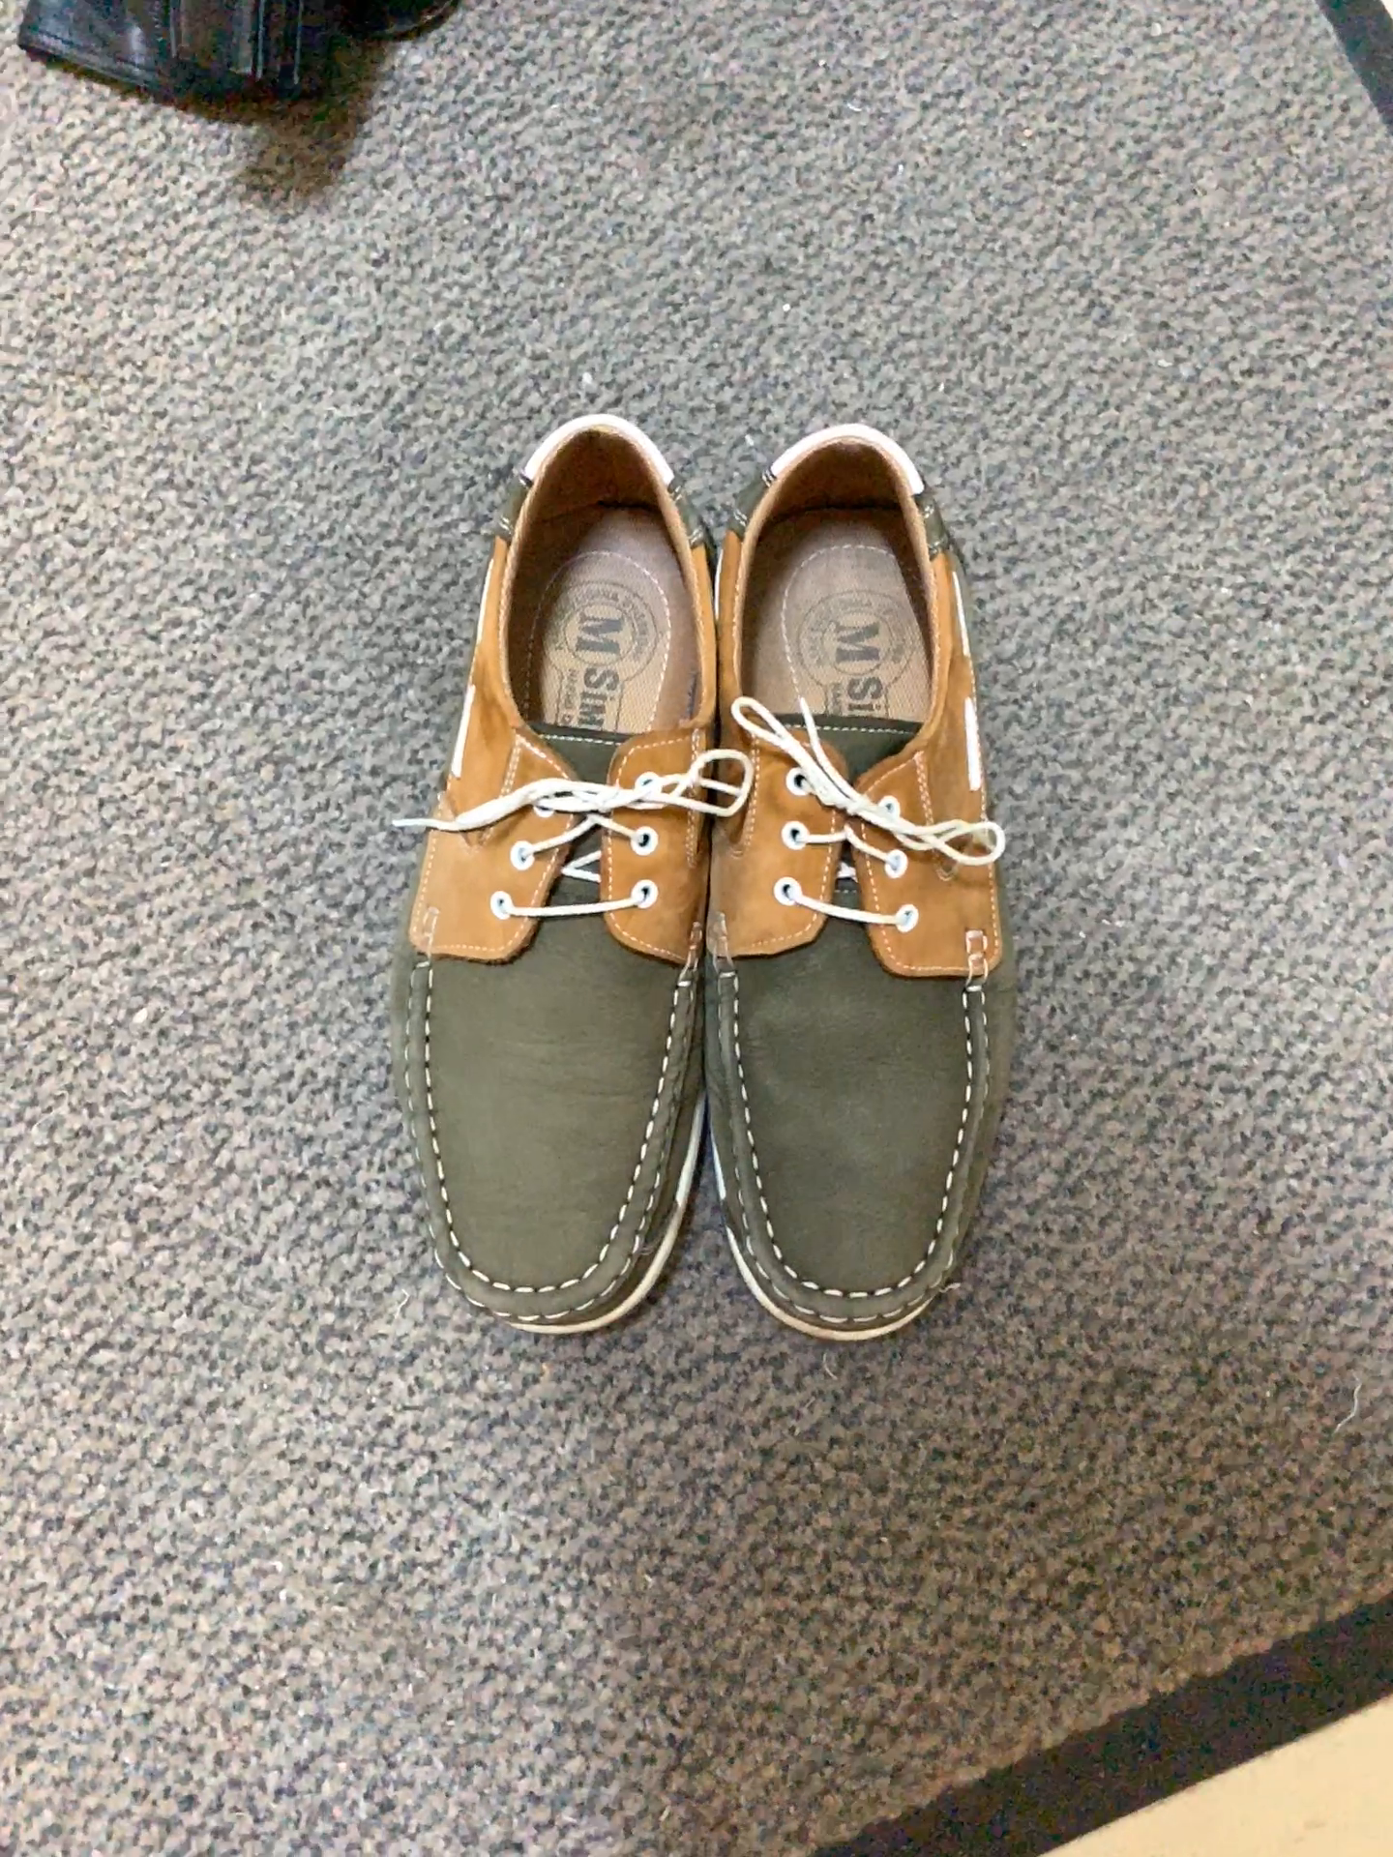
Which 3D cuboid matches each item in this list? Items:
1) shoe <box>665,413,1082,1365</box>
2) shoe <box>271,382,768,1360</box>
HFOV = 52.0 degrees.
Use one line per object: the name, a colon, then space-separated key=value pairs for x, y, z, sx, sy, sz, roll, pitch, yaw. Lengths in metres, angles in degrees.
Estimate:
shoe: x=0.049 y=-0.007 z=0.460 sx=0.107 sy=0.130 sz=0.270 roll=1 pitch=77 yaw=0
shoe: x=-0.044 y=-0.012 z=0.456 sx=0.107 sy=0.130 sz=0.270 roll=5 pitch=77 yaw=1
